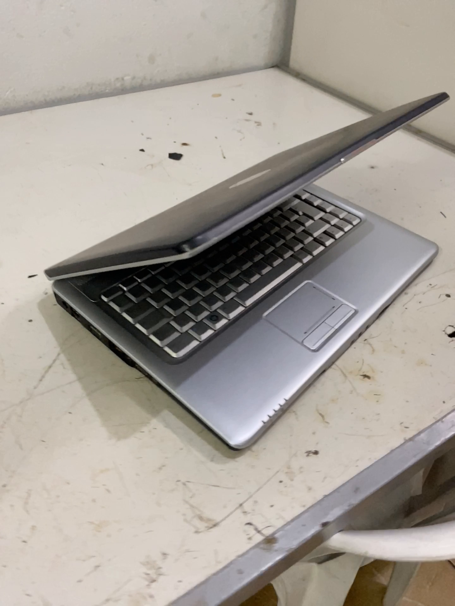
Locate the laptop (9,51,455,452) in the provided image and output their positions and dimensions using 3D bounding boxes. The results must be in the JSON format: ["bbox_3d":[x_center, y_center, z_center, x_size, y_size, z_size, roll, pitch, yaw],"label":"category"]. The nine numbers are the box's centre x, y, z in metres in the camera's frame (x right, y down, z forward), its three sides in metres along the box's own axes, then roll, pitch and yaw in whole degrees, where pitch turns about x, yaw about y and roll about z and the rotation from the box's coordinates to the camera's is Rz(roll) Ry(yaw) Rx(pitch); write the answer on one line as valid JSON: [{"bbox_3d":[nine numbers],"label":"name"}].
[{"bbox_3d":[0.040,-0.093,0.437,0.238,0.145,0.348,34,50,27],"label":"laptop"}]
